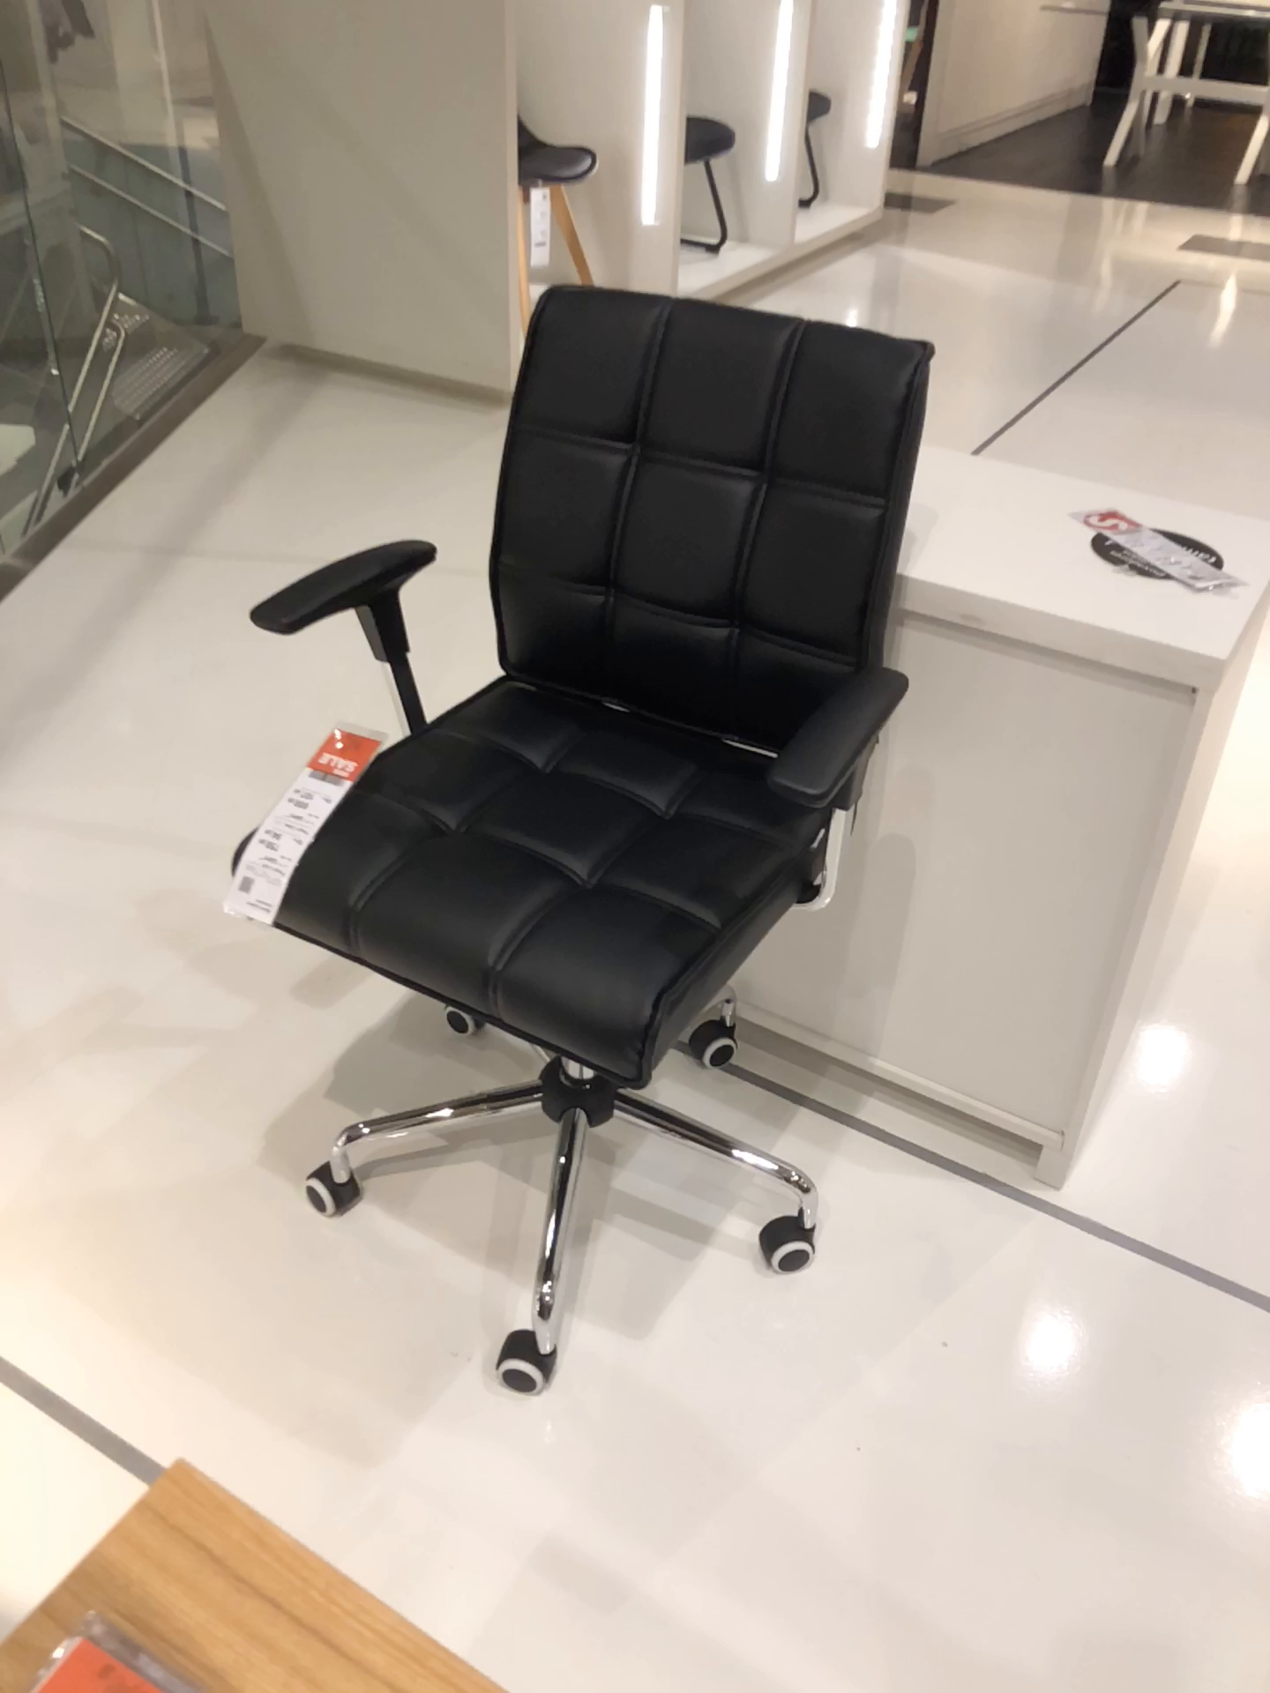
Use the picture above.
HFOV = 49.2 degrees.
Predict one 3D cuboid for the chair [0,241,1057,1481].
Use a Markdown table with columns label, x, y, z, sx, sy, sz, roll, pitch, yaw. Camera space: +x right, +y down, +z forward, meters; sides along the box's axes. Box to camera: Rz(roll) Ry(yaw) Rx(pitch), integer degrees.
| label | x | y | z | sx | sy | sz | roll | pitch | yaw |
| --- | --- | --- | --- | --- | --- | --- | --- | --- | --- |
| chair | -0.048 | -0.042 | 1.460 | 0.621 | 0.913 | 0.745 | 18 | 38 | 21 |
